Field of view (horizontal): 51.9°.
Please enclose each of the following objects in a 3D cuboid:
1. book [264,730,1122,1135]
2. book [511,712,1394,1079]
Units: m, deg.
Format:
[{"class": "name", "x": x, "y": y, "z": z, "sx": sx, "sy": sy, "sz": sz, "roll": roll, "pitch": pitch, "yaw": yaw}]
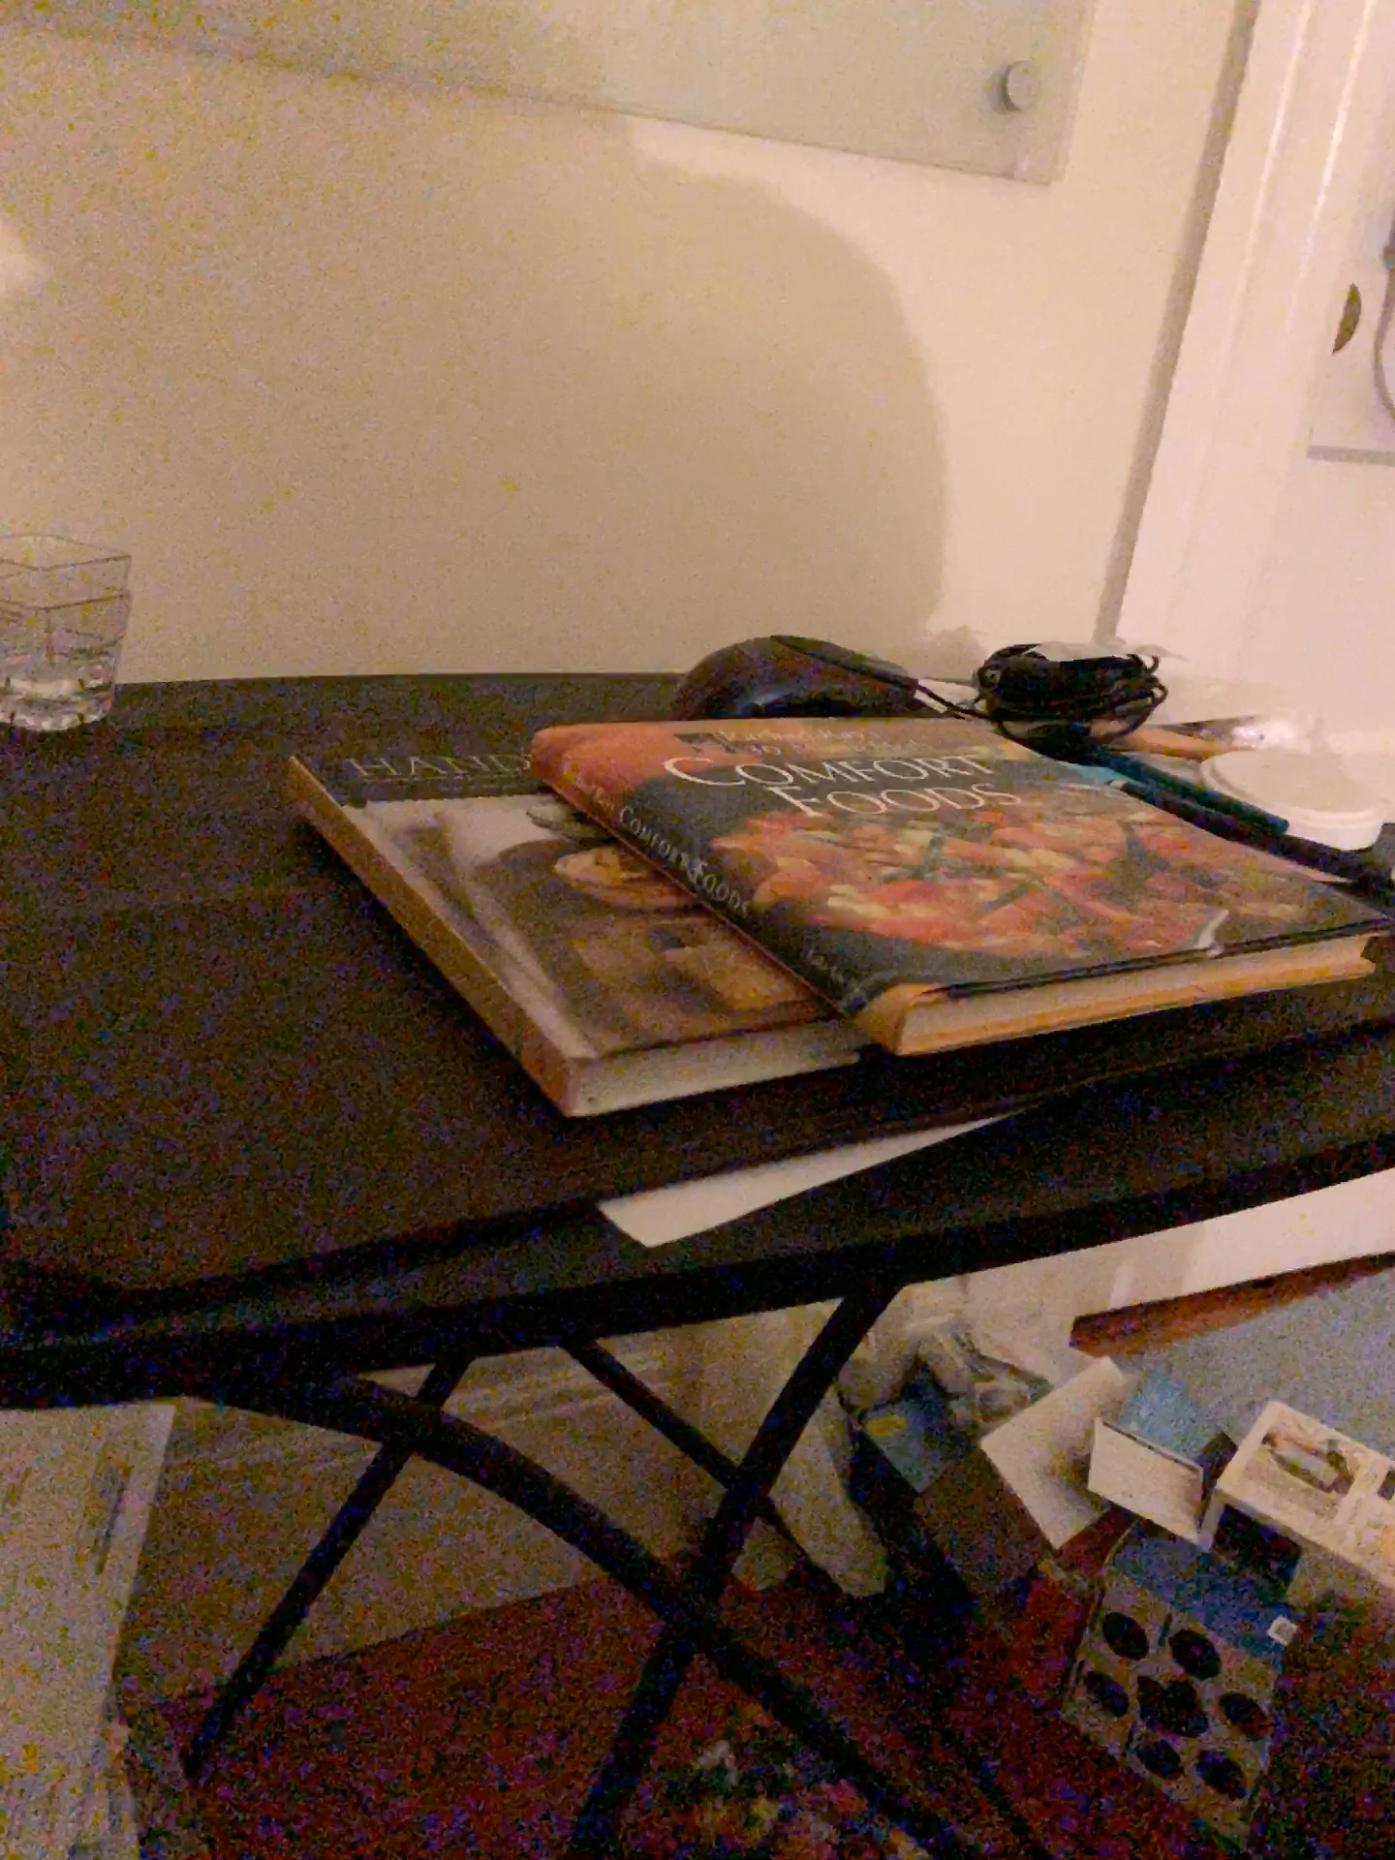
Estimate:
[{"class": "book", "x": -0.013, "y": -0.017, "z": 0.449, "sx": 0.180, "sy": 0.020, "sz": 0.221, "roll": -7, "pitch": 28, "yaw": -32}, {"class": "book", "x": 0.076, "y": -0.028, "z": 0.464, "sx": 0.200, "sy": 0.020, "sz": 0.211, "roll": -7, "pitch": 28, "yaw": -32}]
